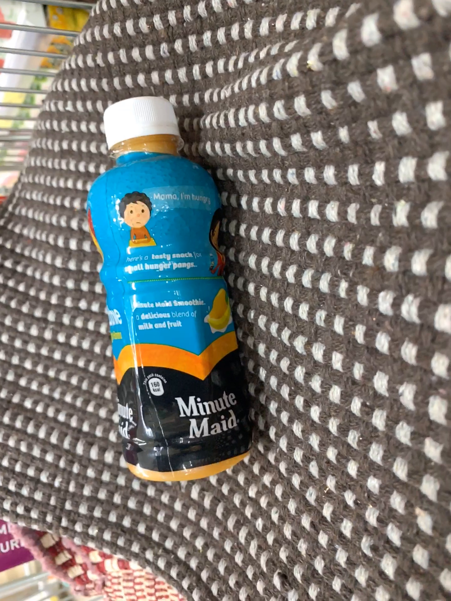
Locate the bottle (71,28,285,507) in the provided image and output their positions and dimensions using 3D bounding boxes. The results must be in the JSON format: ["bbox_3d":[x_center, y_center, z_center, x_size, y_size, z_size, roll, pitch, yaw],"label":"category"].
[{"bbox_3d":[-0.022,-0.010,0.192,0.060,0.040,0.160,-7,91,55],"label":"bottle"}]
